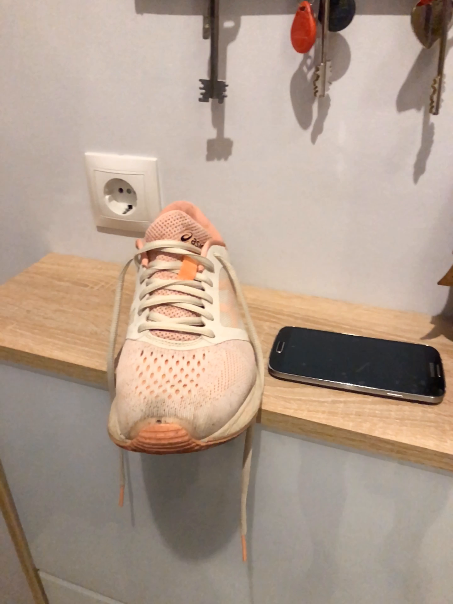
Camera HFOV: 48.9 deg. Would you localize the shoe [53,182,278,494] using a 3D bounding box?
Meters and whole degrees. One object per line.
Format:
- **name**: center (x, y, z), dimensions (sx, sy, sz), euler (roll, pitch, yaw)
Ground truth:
- **shoe**: center (-0.025, -0.001, 0.385), dimensions (0.110, 0.103, 0.270), euler (0, 31, 2)
